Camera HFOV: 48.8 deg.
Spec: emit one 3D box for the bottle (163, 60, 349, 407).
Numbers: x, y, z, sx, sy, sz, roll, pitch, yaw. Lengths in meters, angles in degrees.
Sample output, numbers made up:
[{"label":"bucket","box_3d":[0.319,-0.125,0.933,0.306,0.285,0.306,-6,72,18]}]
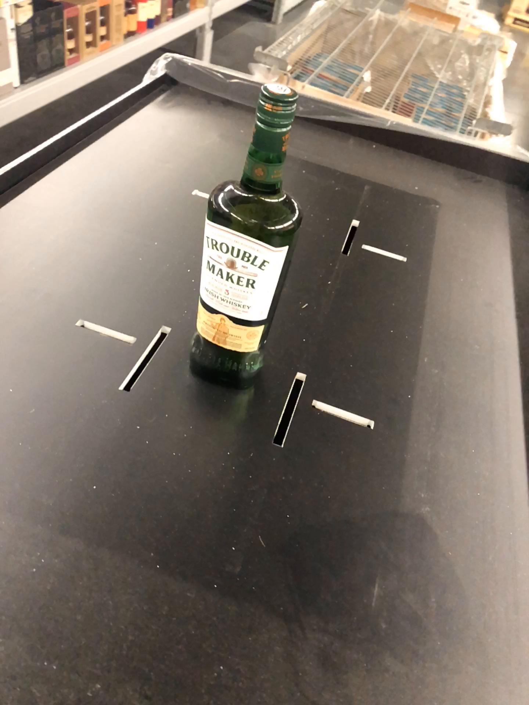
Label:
[{"label":"bottle","box_3d":[-0.020,-0.093,0.545,0.100,0.298,0.081,22,42,8]}]
